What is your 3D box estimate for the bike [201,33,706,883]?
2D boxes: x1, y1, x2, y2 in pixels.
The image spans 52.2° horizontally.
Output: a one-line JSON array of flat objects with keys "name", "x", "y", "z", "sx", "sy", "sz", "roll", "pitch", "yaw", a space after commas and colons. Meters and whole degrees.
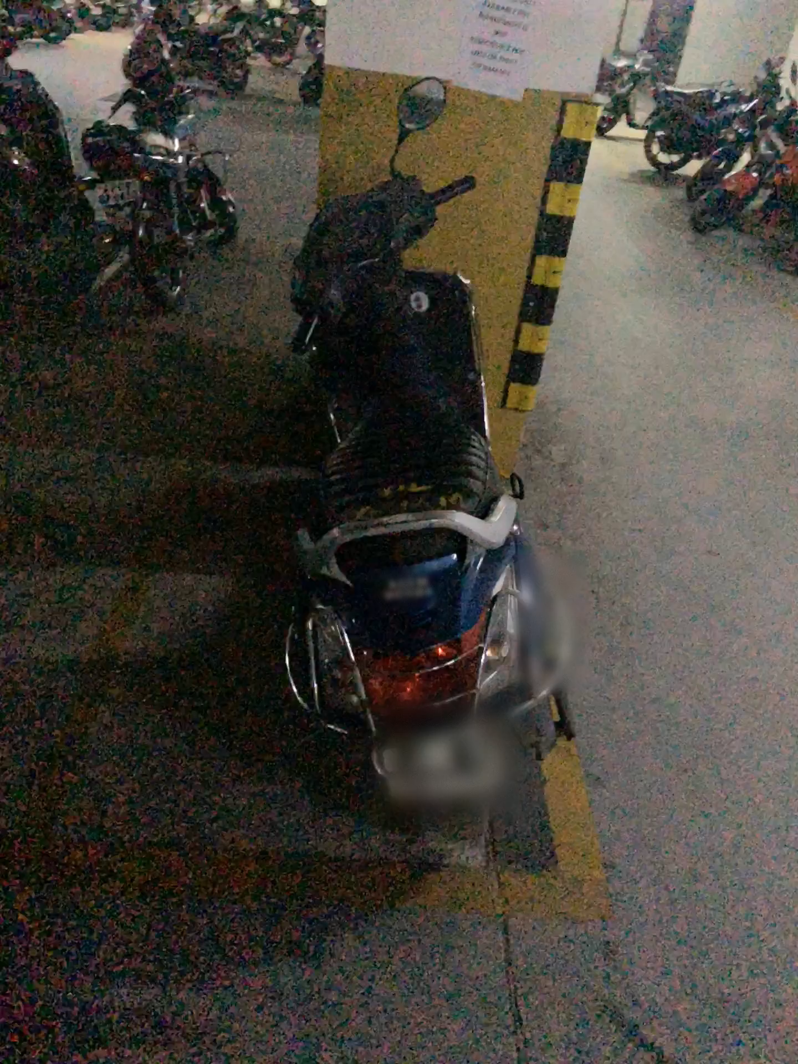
[{"name": "bike", "x": -0.079, "y": -0.231, "z": 1.742, "sx": 0.631, "sy": 1.063, "sz": 1.275, "roll": -1, "pitch": 40, "yaw": -13}]
